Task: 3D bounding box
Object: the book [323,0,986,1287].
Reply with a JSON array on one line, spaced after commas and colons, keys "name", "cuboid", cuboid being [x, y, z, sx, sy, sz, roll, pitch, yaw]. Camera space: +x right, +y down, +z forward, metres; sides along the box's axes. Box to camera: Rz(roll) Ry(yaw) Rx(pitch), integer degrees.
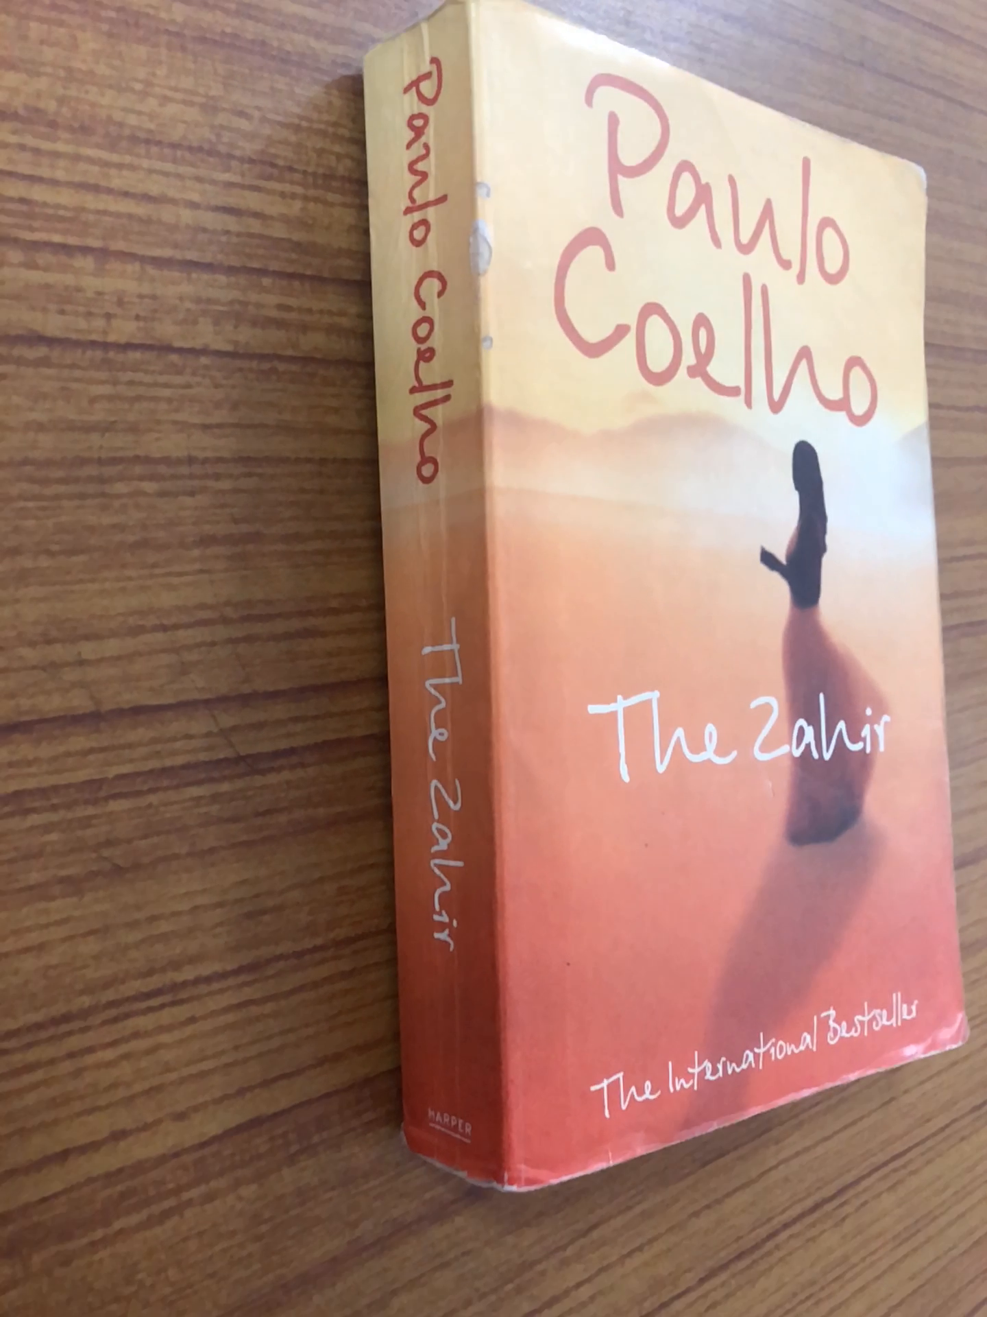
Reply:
[{"name": "book", "cuboid": [0.037, -0.009, 0.198, 0.121, 0.040, 0.180, -1, 86, -37]}]
